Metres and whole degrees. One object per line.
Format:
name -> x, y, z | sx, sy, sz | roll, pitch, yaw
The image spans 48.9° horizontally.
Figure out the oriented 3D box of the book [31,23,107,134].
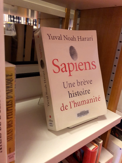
book -> 0.027, -0.015, 0.362 | 0.178, 0.244, 0.052 | -6, -2, -33
